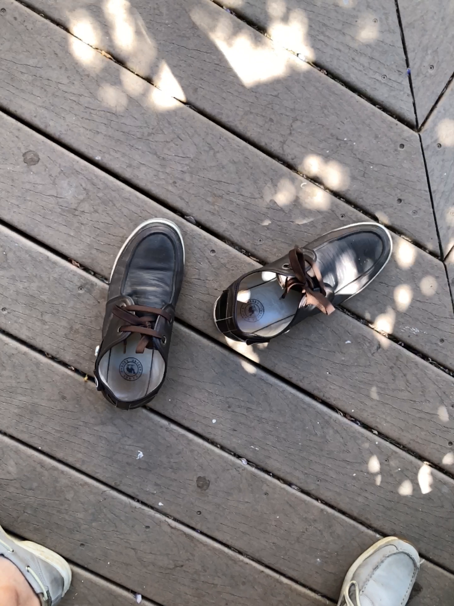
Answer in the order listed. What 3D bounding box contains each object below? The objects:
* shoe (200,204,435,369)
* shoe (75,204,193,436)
[{"bbox_3d":[0.121,-0.029,0.736,0.303,0.121,0.108,-24,98,0],"label":"shoe"},{"bbox_3d":[-0.130,0.020,0.727,0.108,0.121,0.301,10,97,-5],"label":"shoe"}]
